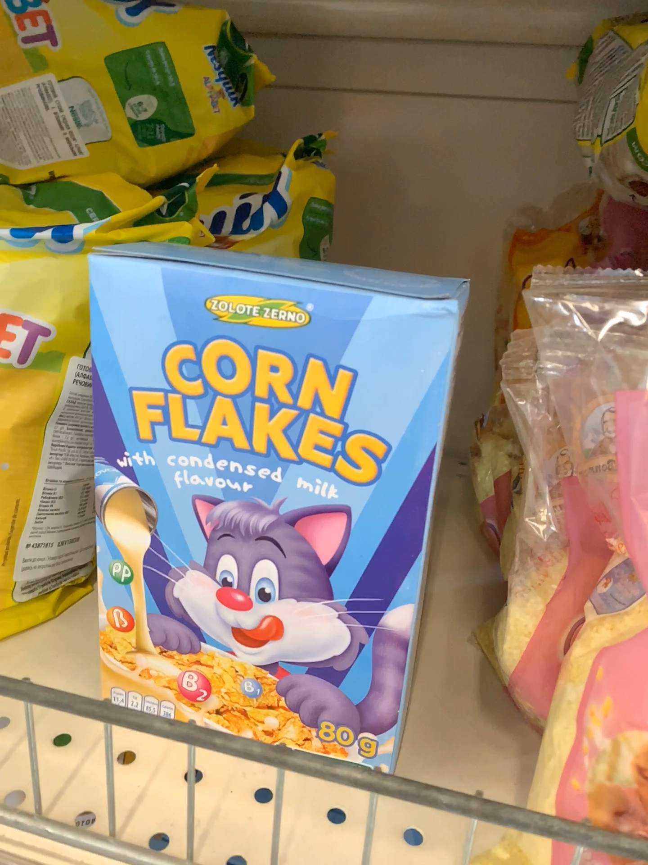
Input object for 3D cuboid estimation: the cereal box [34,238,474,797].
[{"bbox_3d":[-0.023,0.024,0.225,0.120,0.159,0.050,9,19,12],"label":"cereal box"}]
